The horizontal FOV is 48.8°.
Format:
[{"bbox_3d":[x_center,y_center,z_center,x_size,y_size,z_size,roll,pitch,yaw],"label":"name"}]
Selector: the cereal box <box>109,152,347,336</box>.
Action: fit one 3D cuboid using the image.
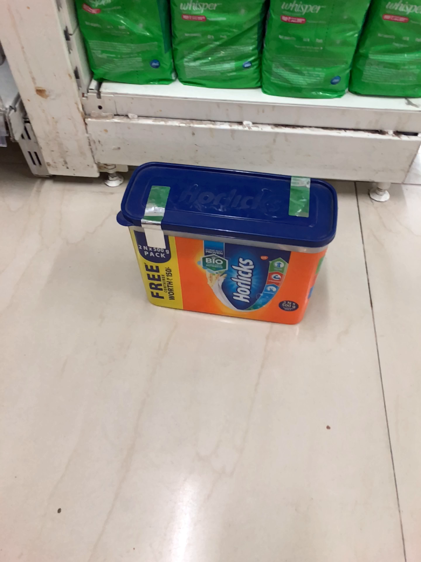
[{"bbox_3d":[0.022,-0.036,0.518,0.220,0.159,0.101,7,54,6],"label":"cereal box"}]
